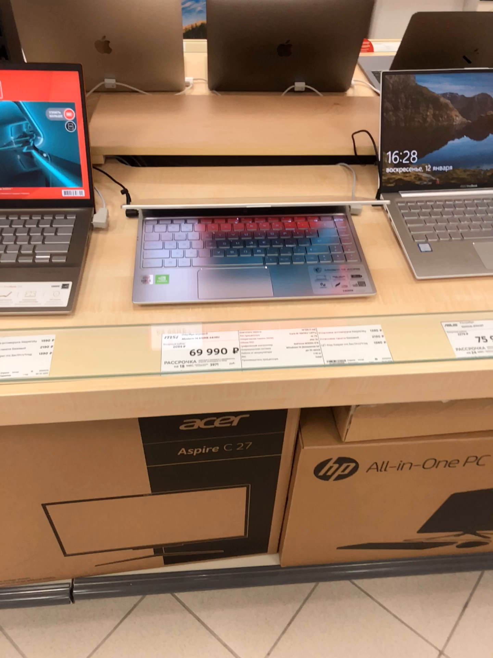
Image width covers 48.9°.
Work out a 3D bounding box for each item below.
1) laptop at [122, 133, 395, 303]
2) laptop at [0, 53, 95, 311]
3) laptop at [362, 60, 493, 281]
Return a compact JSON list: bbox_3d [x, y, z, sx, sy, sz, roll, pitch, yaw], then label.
[{"bbox_3d":[0.007,-0.160,0.746,0.321,0.113,0.217,-2,48,-4],"label":"laptop"},{"bbox_3d":[-0.385,-0.201,0.709,0.309,0.169,0.315,-1,48,-5],"label":"laptop"},{"bbox_3d":[0.384,-0.249,0.814,0.325,0.154,0.302,-4,50,-5],"label":"laptop"}]
